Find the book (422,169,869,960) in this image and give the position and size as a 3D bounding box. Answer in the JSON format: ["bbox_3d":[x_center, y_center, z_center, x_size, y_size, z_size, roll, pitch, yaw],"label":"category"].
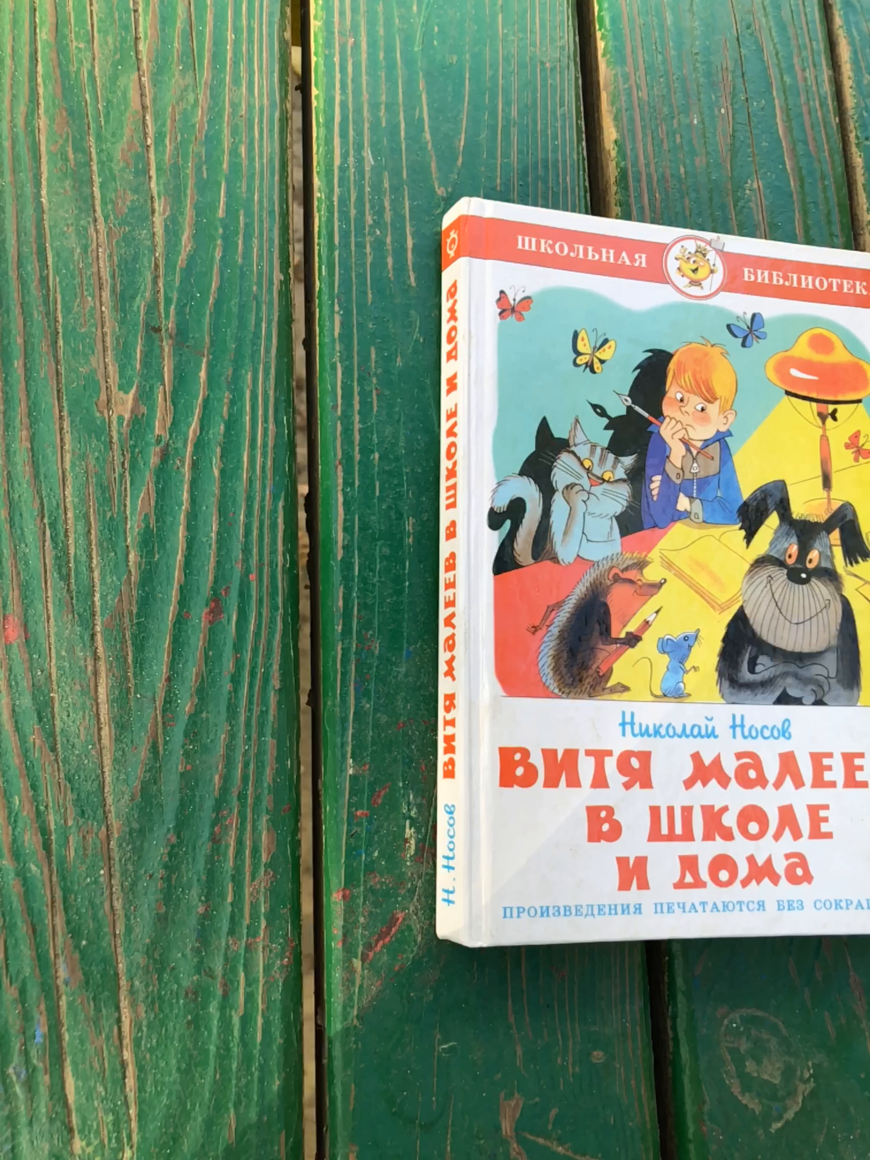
[{"bbox_3d":[0.071,-0.007,0.278,0.145,0.020,0.212,3,78,-13],"label":"book"}]
